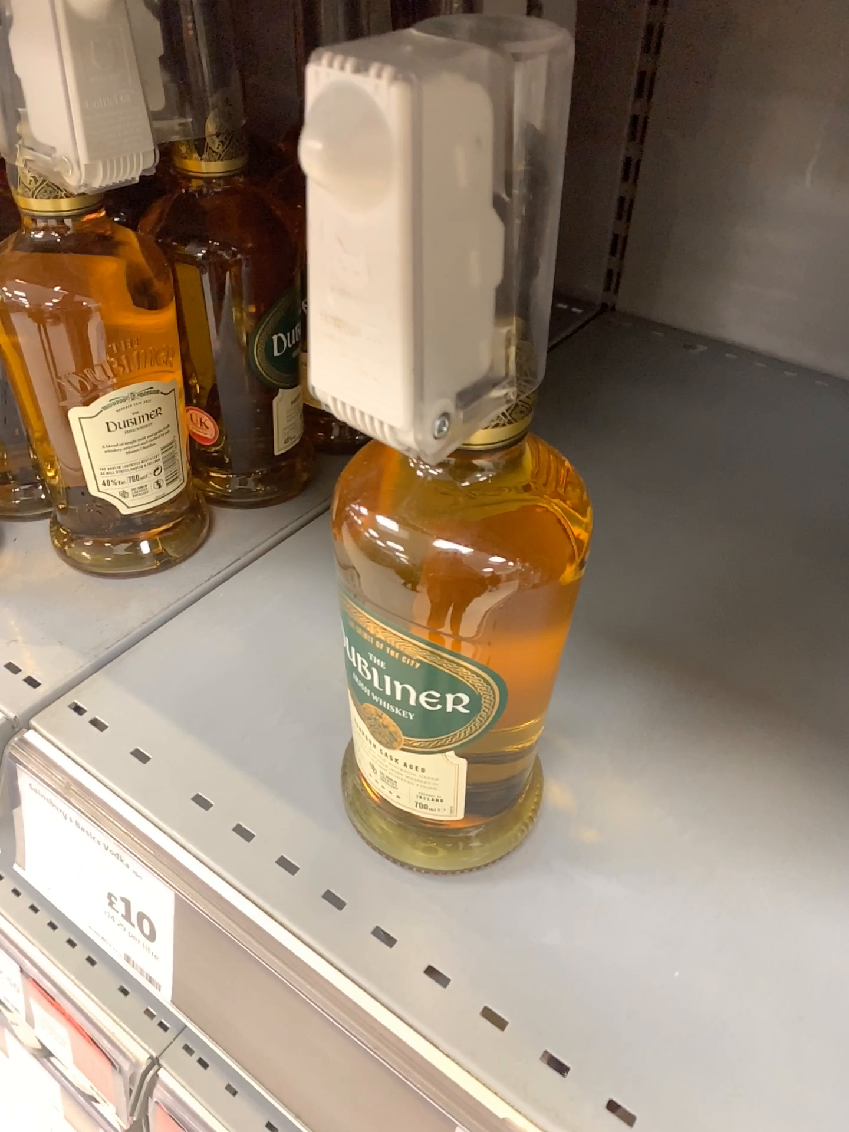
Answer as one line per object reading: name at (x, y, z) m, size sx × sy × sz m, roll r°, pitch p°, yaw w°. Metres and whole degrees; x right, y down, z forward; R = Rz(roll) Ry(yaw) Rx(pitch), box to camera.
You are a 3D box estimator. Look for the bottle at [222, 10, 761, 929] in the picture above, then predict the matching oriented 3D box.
bottle at (0.012, -0.012, 0.293) m, size 0.090 × 0.283 × 0.089 m, roll 1°, pitch 39°, yaw -1°
